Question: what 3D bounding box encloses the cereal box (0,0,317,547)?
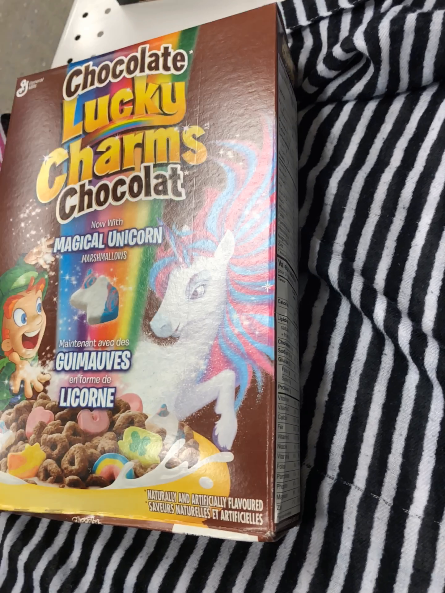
[{"bbox_3d":[-0.059,-0.028,0.295,0.210,0.060,0.290,-5,74,22],"label":"cereal box"}]
